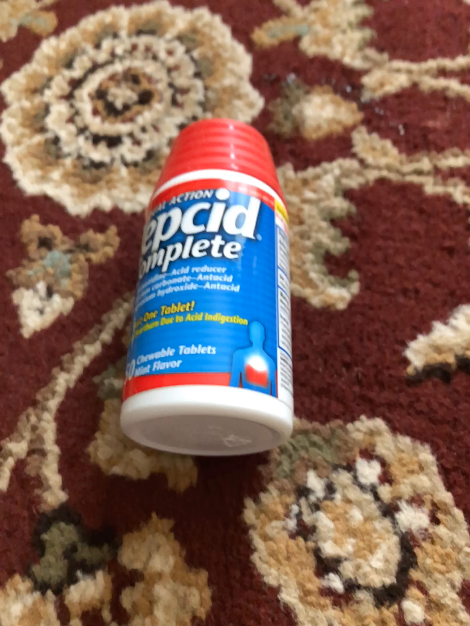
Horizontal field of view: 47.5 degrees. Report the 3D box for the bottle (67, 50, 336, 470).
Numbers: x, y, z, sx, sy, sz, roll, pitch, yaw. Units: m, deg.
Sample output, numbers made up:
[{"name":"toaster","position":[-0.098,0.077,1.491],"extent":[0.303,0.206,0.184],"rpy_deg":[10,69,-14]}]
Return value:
[{"name":"bottle","position":[-0.006,-0.017,0.195],"extent":[0.060,0.060,0.130],"rpy_deg":[-13,59,29]}]
